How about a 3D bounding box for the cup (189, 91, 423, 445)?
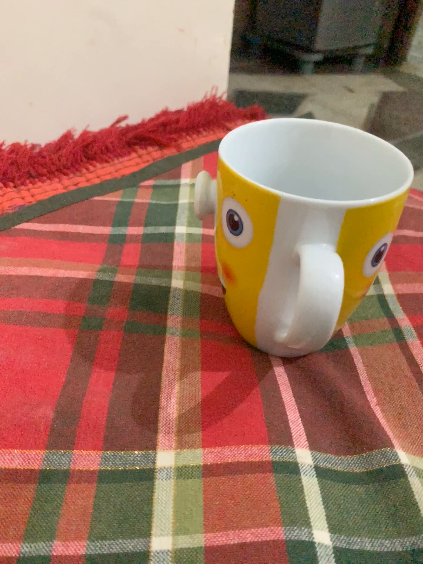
[{"bbox_3d":[0.041,-0.015,0.183,0.080,0.080,0.120,7,40,2],"label":"cup"}]
